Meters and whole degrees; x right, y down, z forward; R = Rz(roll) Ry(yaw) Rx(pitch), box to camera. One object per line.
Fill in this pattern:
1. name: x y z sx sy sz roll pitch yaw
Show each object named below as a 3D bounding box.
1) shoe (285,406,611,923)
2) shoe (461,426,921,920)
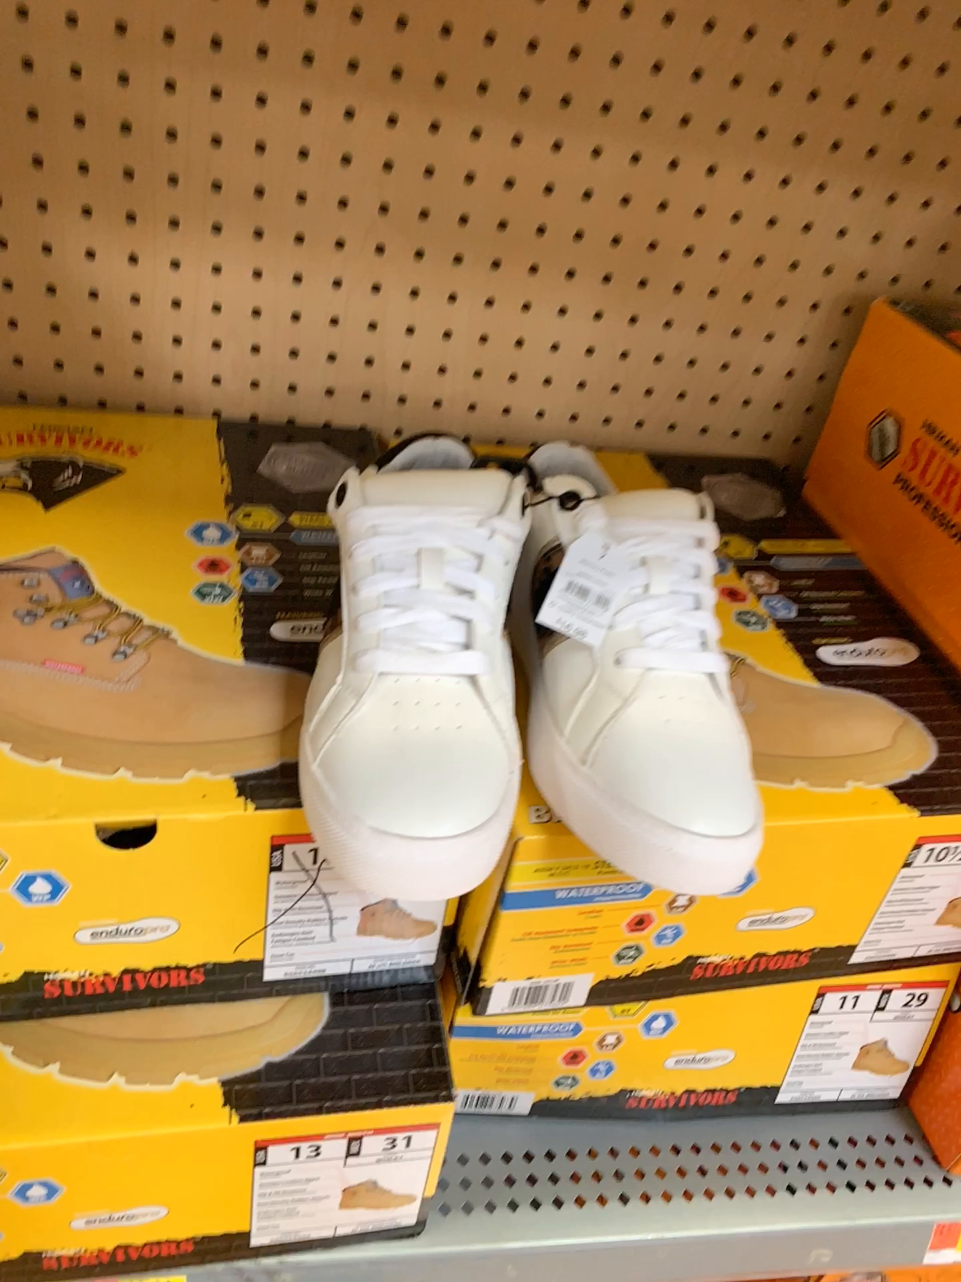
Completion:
1. shoe: -0.023 -0.007 0.424 0.100 0.072 0.246 4 39 -10
2. shoe: 0.072 -0.001 0.442 0.102 0.070 0.242 3 39 -18
